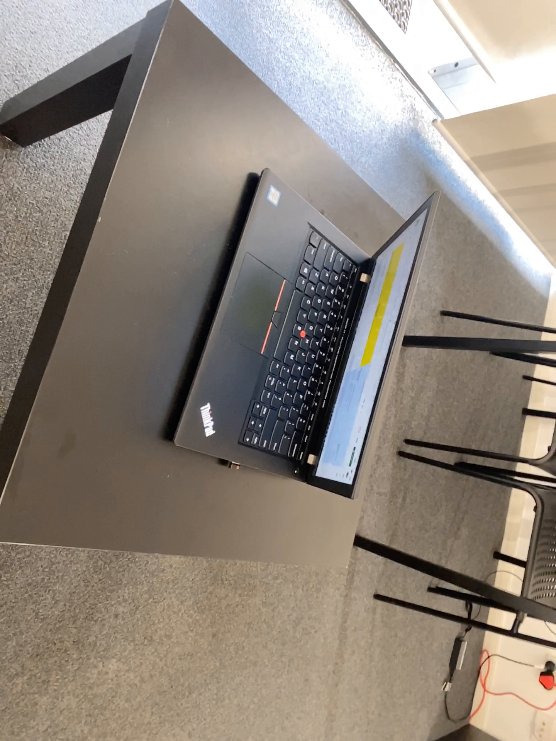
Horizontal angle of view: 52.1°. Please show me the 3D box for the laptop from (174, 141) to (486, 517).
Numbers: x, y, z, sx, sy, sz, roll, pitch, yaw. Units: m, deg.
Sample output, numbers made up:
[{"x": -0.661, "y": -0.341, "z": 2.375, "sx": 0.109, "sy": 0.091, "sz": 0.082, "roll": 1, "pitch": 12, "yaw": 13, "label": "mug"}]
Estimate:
[{"x": 0.071, "y": -0.034, "z": 0.647, "sx": 0.224, "sy": 0.165, "sz": 0.332, "roll": 26, "pitch": 77, "yaw": -43, "label": "laptop"}]
